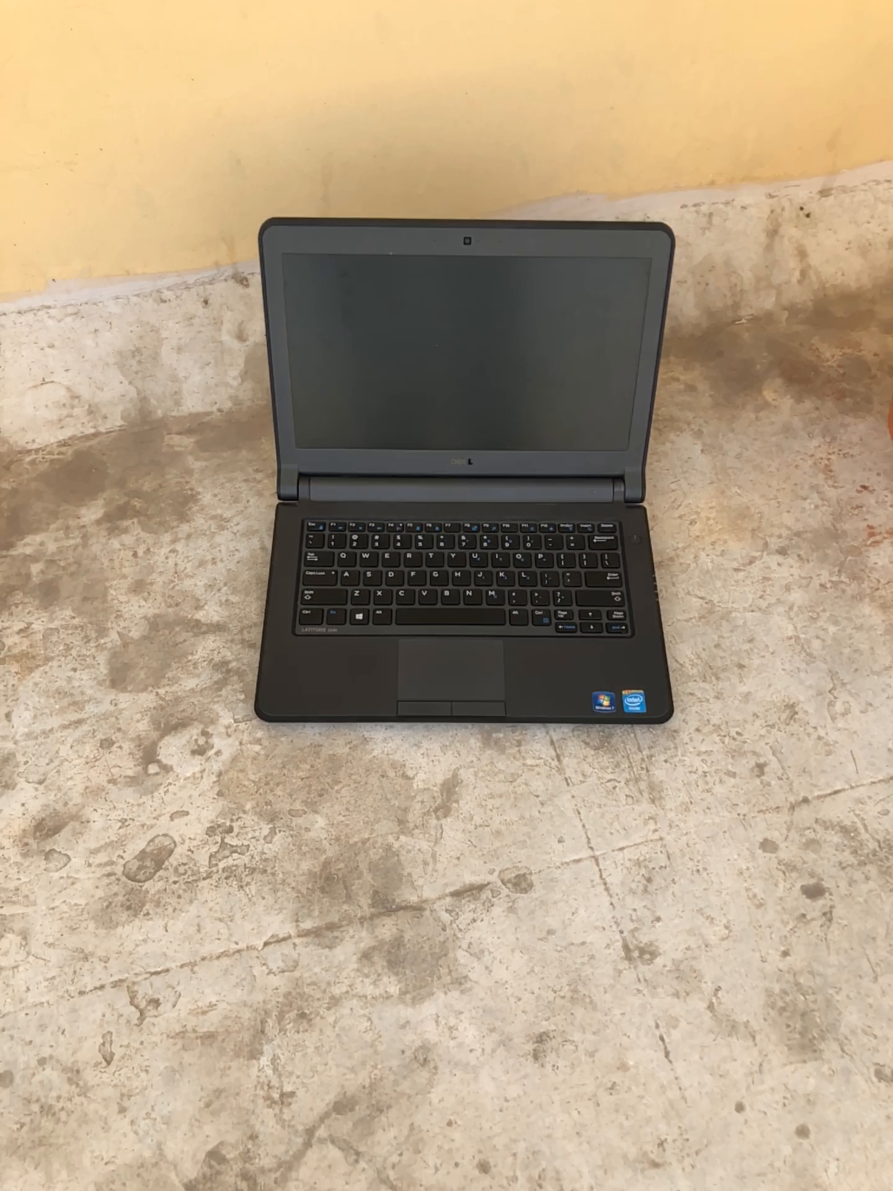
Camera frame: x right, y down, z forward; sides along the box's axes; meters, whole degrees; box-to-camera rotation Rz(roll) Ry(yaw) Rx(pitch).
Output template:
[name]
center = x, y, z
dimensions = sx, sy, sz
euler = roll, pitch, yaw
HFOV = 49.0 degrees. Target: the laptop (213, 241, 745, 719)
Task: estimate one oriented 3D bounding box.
[laptop]
center = 0.018, -0.089, 0.742
dimensions = 0.308, 0.208, 0.300
euler = 0, 54, 0
